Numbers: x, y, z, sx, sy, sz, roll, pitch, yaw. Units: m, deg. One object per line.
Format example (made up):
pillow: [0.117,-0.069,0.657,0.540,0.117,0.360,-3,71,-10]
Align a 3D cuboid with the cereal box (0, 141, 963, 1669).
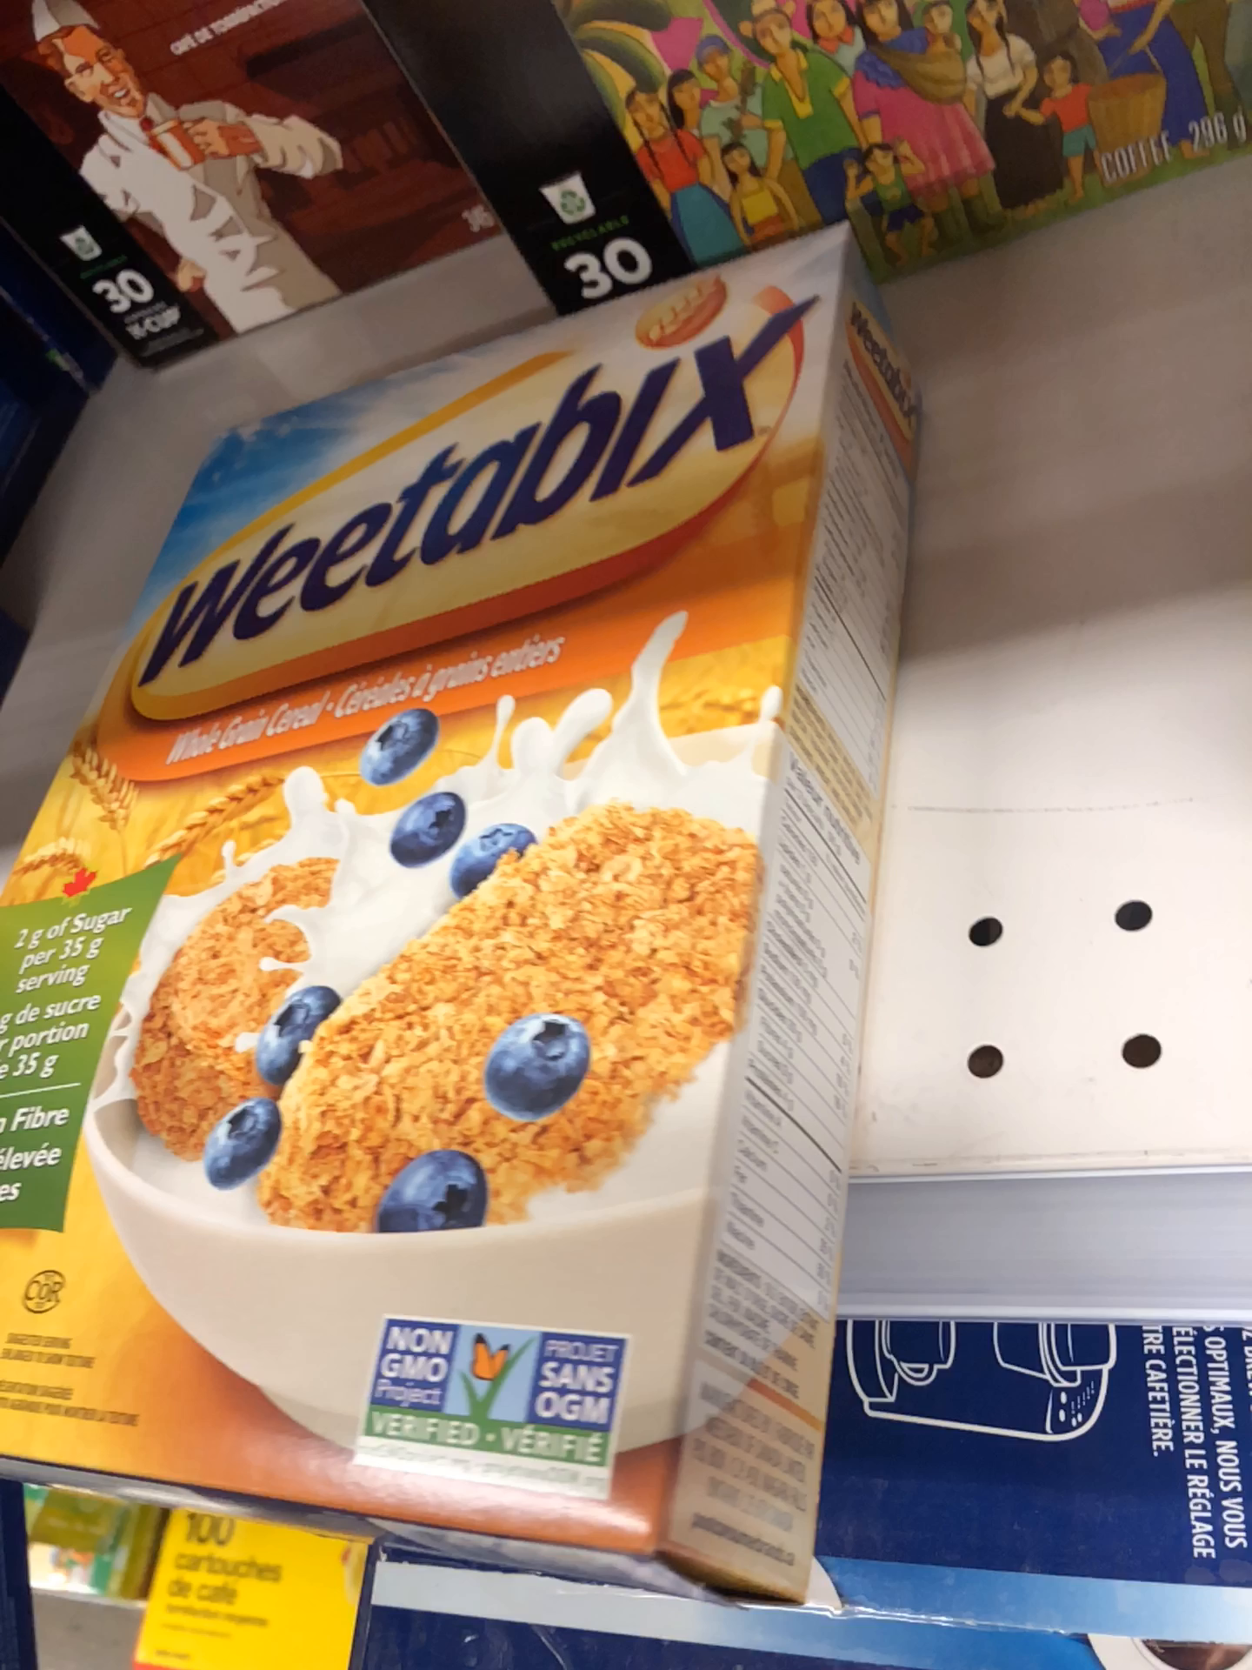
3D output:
cereal box: [-0.048,-0.009,0.300,0.211,0.050,0.290,-7,52,29]
